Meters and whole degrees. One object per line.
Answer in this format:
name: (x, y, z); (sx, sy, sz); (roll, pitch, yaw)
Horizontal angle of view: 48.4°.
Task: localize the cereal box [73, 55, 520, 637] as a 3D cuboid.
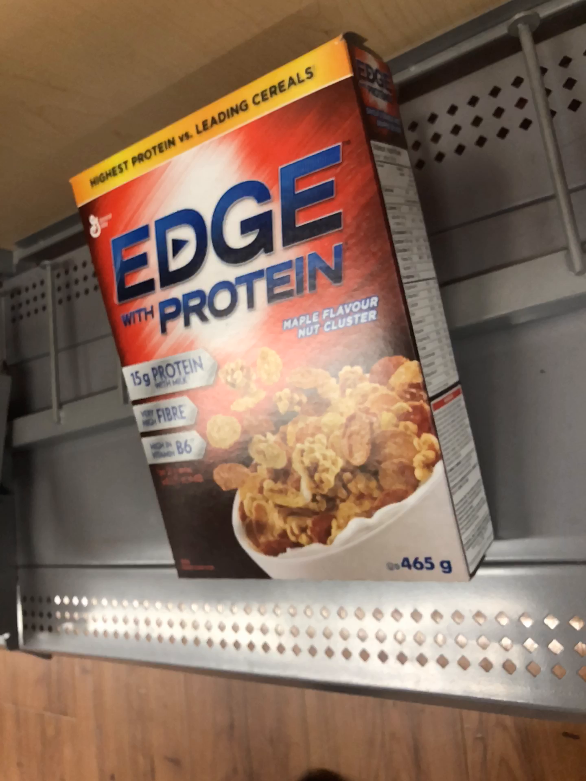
cereal box: (-0.006, -0.008, 0.371); (0.201, 0.070, 0.260); (-10, 93, 35)
